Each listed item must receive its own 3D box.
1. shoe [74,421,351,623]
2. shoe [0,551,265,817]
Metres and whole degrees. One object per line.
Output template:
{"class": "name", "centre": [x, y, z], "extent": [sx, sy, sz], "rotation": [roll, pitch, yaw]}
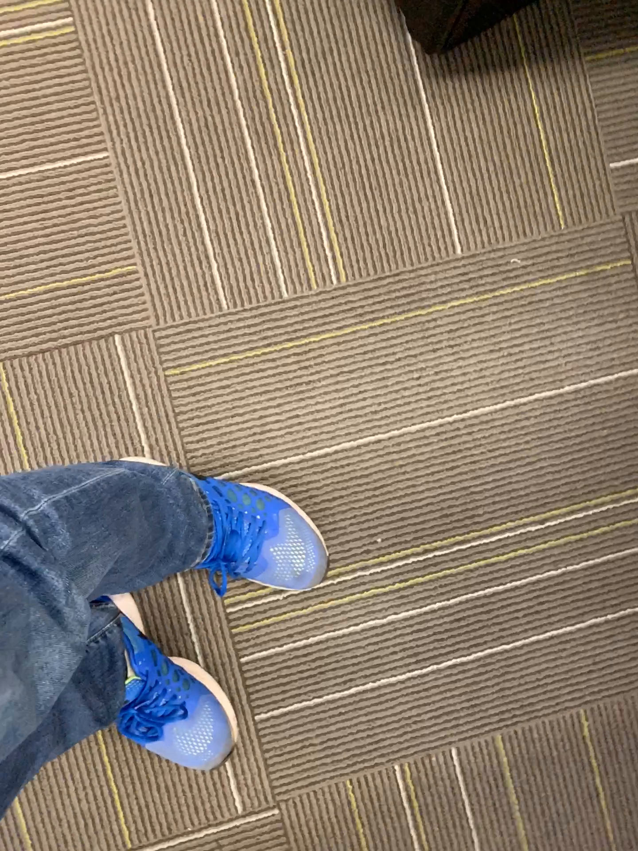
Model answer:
{"class": "shoe", "centre": [-0.126, 0.115, 0.808], "extent": [0.298, 0.077, 0.125], "rotation": [26, 89, -5]}
{"class": "shoe", "centre": [-0.219, 0.309, 0.798], "extent": [0.299, 0.077, 0.128], "rotation": [44, 87, -4]}
